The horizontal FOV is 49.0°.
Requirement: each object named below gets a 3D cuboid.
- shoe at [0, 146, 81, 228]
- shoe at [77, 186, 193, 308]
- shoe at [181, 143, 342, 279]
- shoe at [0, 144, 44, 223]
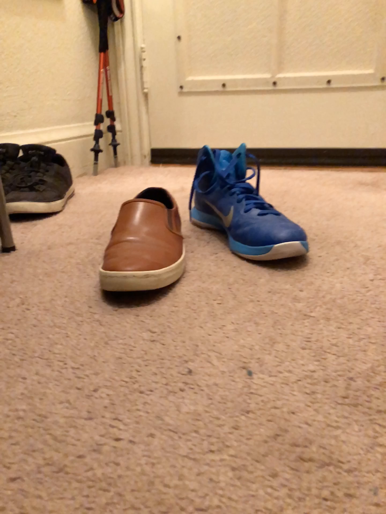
[{"bbox_3d":[-0.330,-0.163,0.914,0.115,0.113,0.293,-3,21,-4],"label":"shoe"},{"bbox_3d":[-0.063,-0.032,0.606,0.105,0.083,0.283,0,21,4],"label":"shoe"},{"bbox_3d":[0.088,-0.094,0.682,0.115,0.142,0.293,-9,22,-20],"label":"shoe"},{"bbox_3d":[-0.432,-0.173,0.934,0.115,0.113,0.293,-3,21,-4],"label":"shoe"}]
